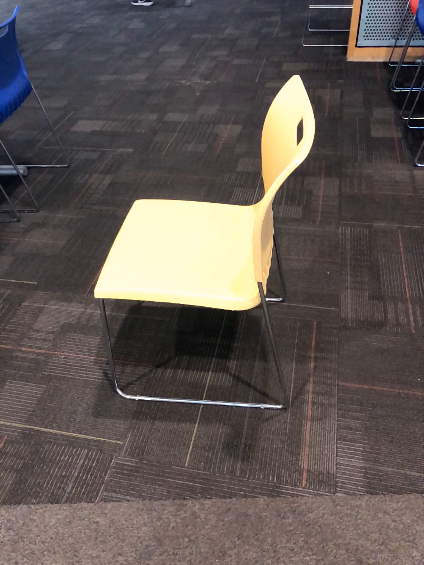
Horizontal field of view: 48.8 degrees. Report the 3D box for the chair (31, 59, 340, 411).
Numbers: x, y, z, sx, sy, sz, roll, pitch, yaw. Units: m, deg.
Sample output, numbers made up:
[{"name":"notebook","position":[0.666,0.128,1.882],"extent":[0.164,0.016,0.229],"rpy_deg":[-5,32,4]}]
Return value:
[{"name":"chair","position":[0.000,-0.126,1.285],"extent":[0.560,0.736,0.573],"rpy_deg":[2,41,8]}]
